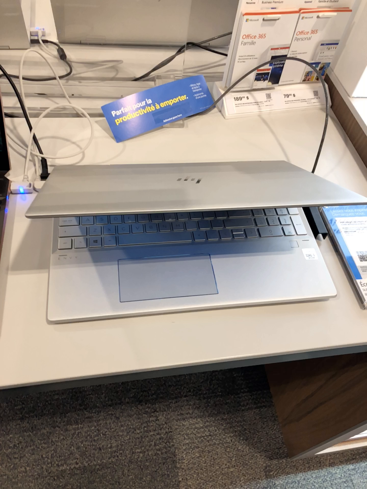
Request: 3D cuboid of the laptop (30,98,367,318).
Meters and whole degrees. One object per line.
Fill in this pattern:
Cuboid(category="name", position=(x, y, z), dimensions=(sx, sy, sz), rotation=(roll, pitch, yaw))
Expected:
Cuboid(category="laptop", position=(0.012, -0.055, 0.490), dimensions=(0.346, 0.116, 0.230), rotation=(-3, 56, -9))
